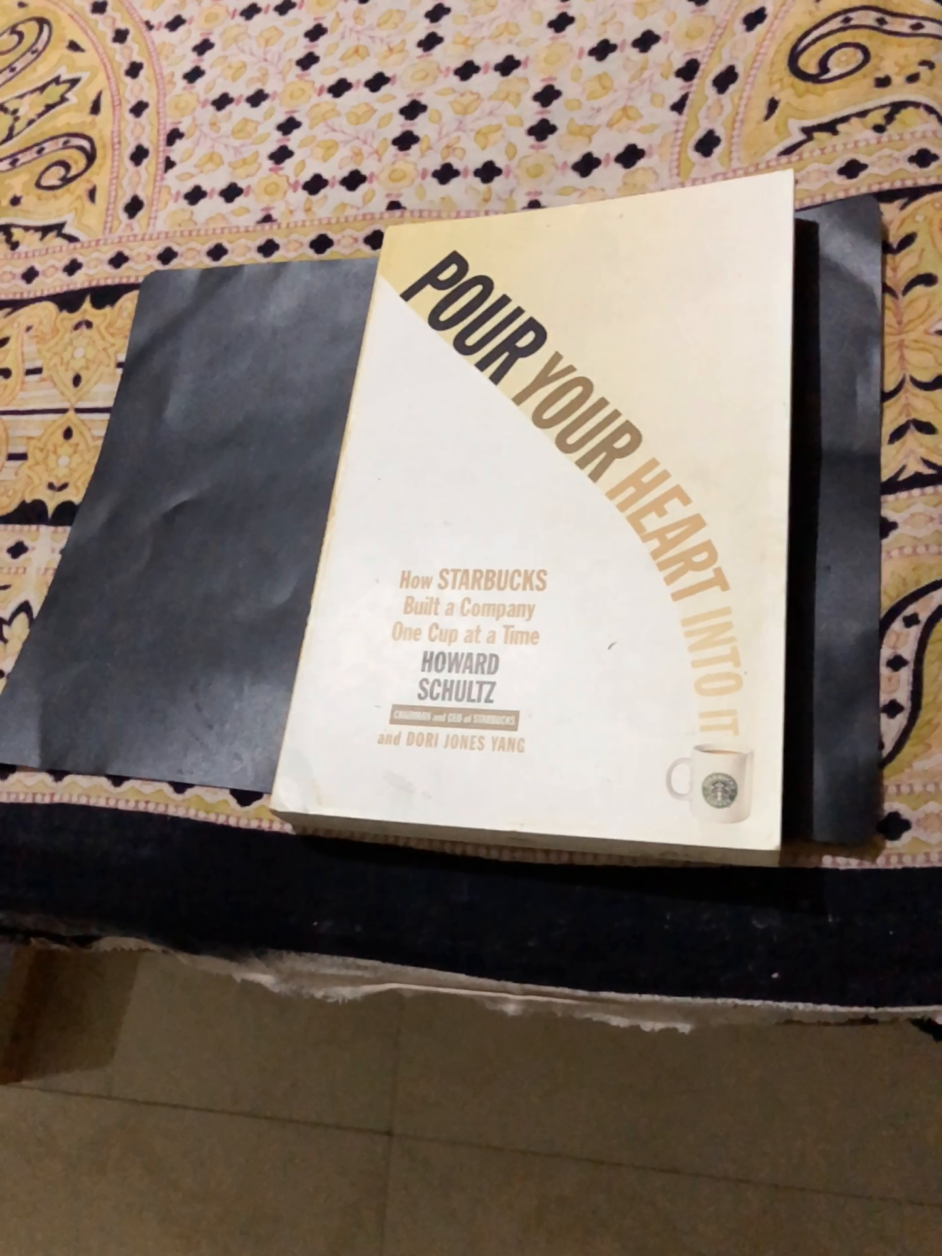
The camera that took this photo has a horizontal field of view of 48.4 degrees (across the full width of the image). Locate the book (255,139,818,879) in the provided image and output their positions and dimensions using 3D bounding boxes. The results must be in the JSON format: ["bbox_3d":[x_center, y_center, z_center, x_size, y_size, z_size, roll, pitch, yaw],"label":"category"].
[{"bbox_3d":[0.032,-0.046,0.360,0.160,0.050,0.240,1,69,17],"label":"book"}]
